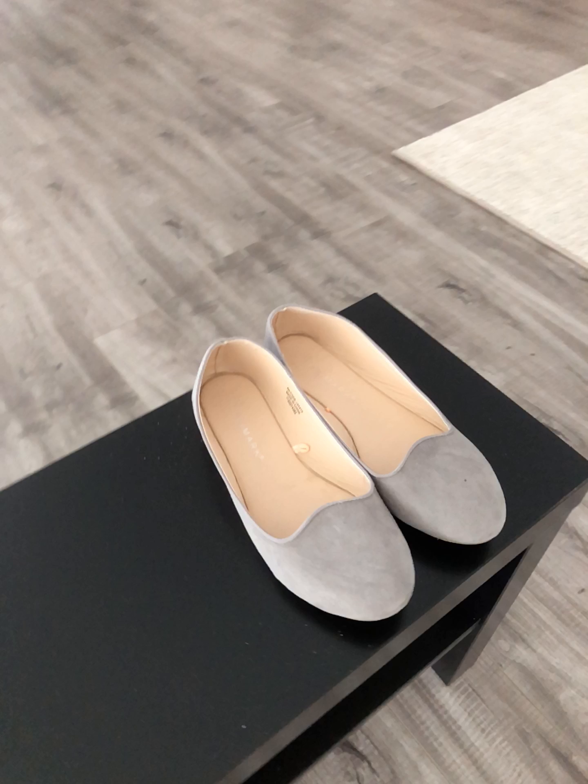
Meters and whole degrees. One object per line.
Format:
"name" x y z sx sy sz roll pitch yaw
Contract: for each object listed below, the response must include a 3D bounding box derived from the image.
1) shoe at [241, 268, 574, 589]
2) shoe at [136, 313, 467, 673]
"shoe" 0.070 0.012 0.500 0.100 0.060 0.257 -28 54 -22
"shoe" -0.008 0.054 0.463 0.100 0.060 0.251 -28 54 -22
